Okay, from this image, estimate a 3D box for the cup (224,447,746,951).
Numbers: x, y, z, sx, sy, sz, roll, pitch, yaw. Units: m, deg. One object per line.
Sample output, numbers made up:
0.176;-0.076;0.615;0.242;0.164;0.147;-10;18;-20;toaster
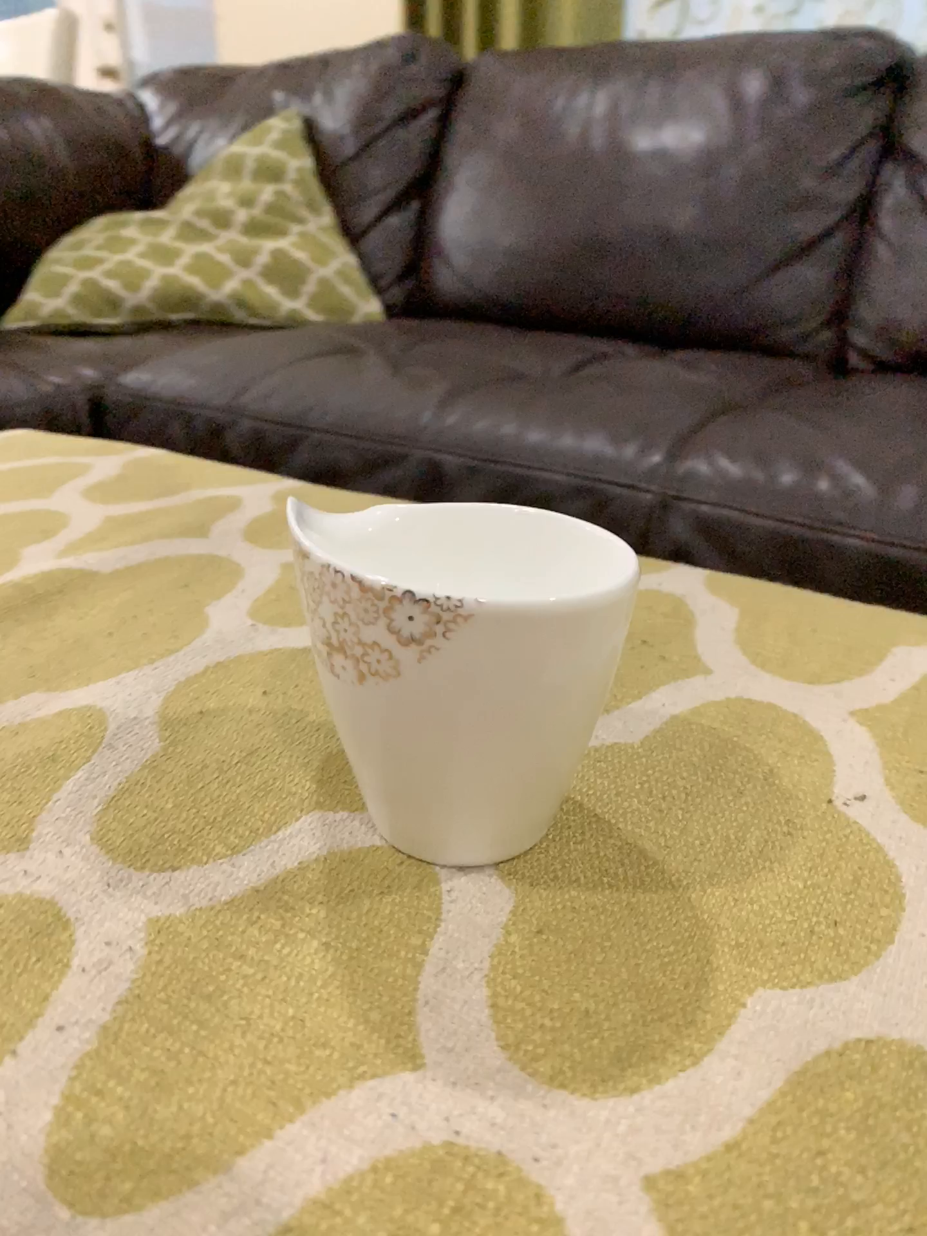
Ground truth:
0.000;0.010;0.264;0.089;0.079;0.109;-15;28;-31;cup
